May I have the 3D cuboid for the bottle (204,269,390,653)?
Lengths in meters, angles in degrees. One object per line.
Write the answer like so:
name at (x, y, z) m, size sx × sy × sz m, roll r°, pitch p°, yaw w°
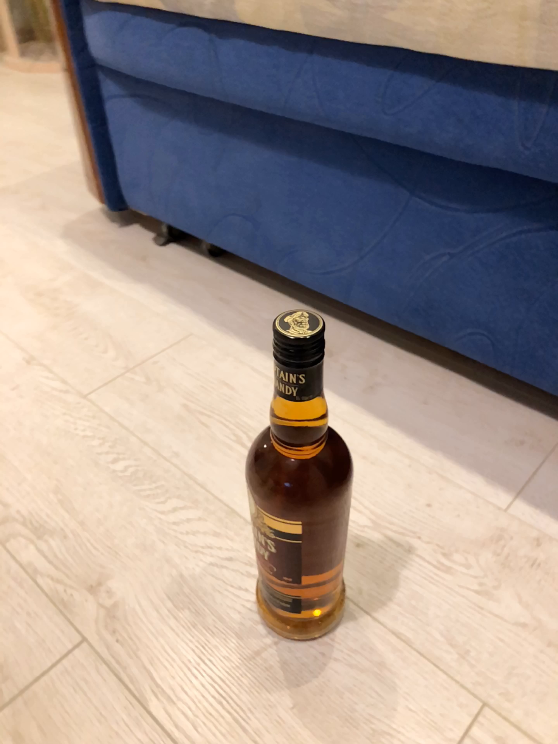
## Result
bottle at (0.010, 0.071, 0.405) m, size 0.080 × 0.257 × 0.081 m, roll -1°, pitch 38°, yaw 1°
